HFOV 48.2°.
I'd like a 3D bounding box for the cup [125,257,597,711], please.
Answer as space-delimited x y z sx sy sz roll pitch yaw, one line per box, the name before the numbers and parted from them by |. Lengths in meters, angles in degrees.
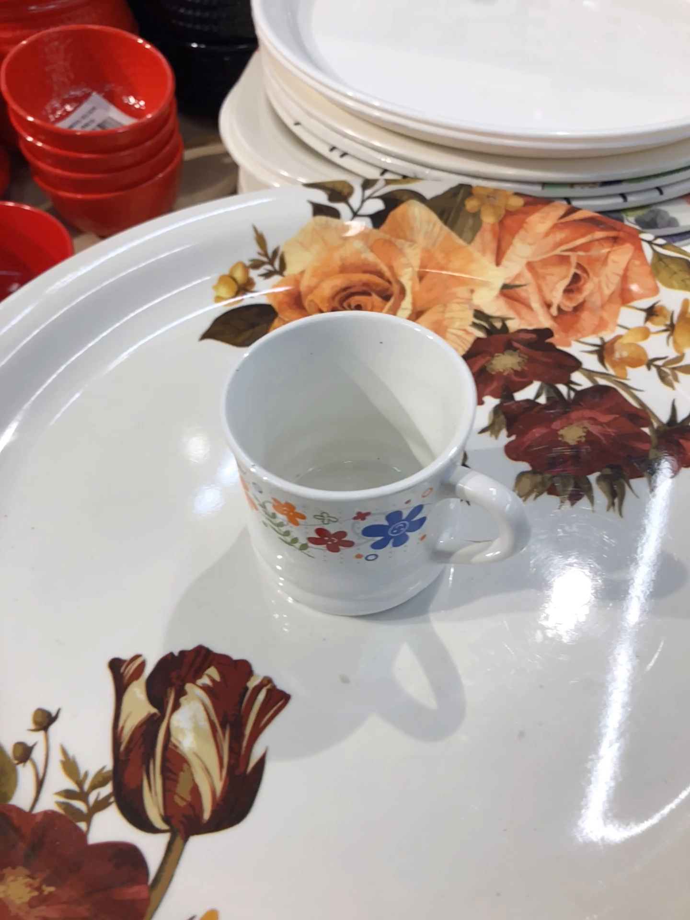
cup | 0.006 0.006 0.230 0.100 0.080 0.070 24 57 19
